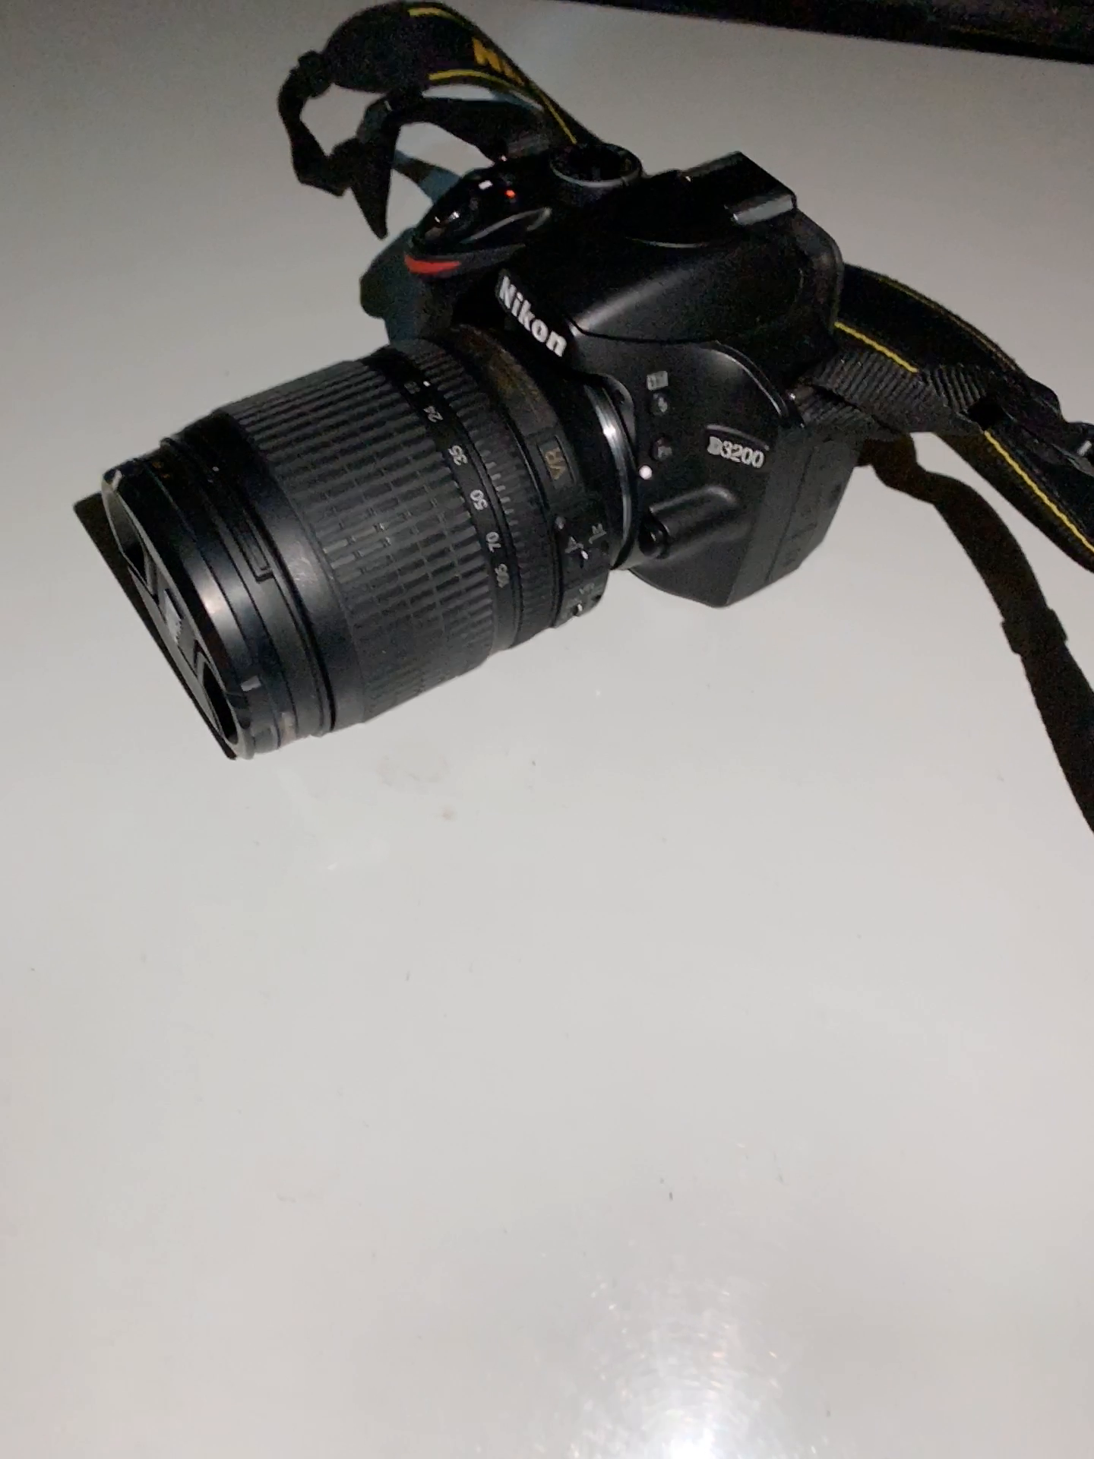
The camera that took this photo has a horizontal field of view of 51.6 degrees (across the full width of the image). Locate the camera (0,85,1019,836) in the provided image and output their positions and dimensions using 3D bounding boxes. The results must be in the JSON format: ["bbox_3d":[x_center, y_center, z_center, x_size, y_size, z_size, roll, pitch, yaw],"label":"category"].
[{"bbox_3d":[-0.012,-0.084,0.293,0.201,0.099,0.127,-21,50,-24],"label":"camera"}]
